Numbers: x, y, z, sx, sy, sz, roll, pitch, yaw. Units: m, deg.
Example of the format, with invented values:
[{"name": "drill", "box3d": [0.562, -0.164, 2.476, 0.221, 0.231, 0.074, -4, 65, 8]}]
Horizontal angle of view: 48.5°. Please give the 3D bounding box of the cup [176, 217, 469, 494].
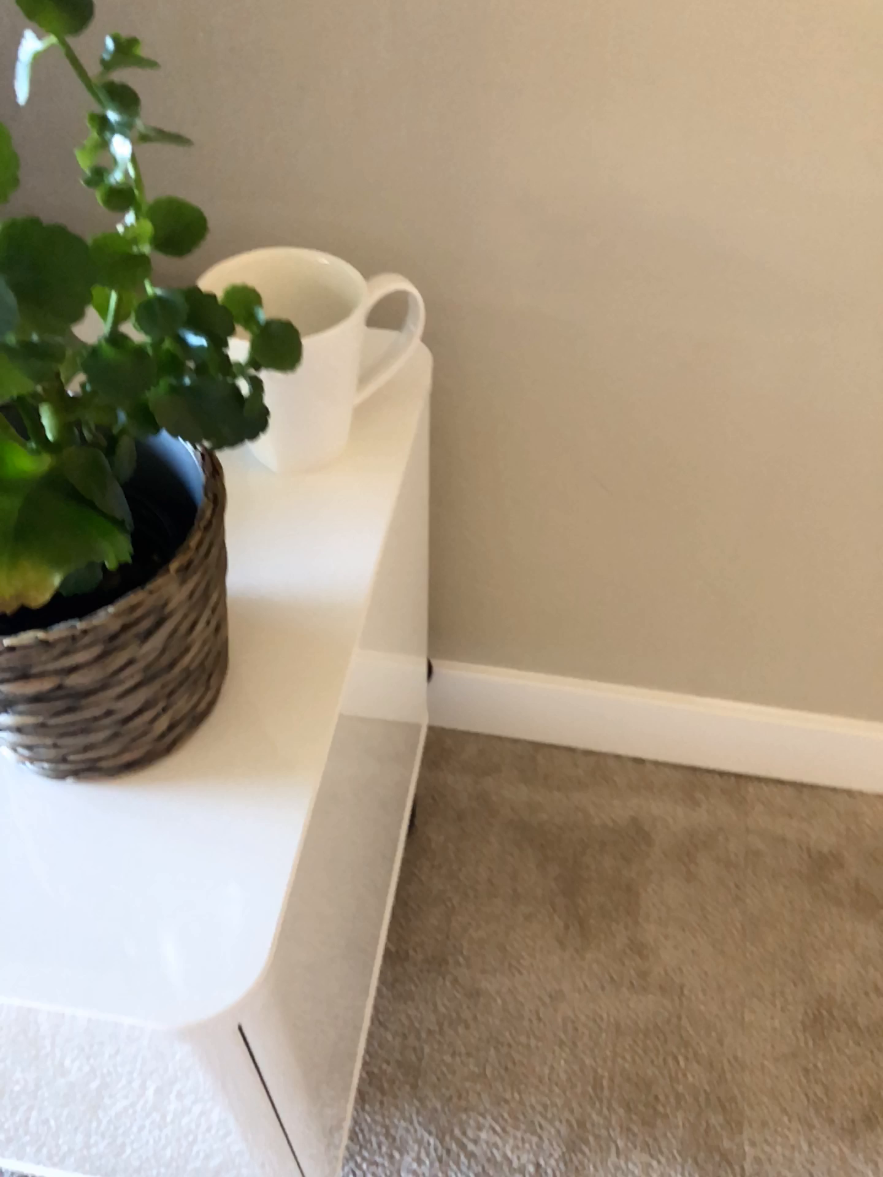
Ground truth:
[{"name": "cup", "box3d": [-0.065, -0.134, 0.554, 0.130, 0.090, 0.090, -21, 52, -19]}]
